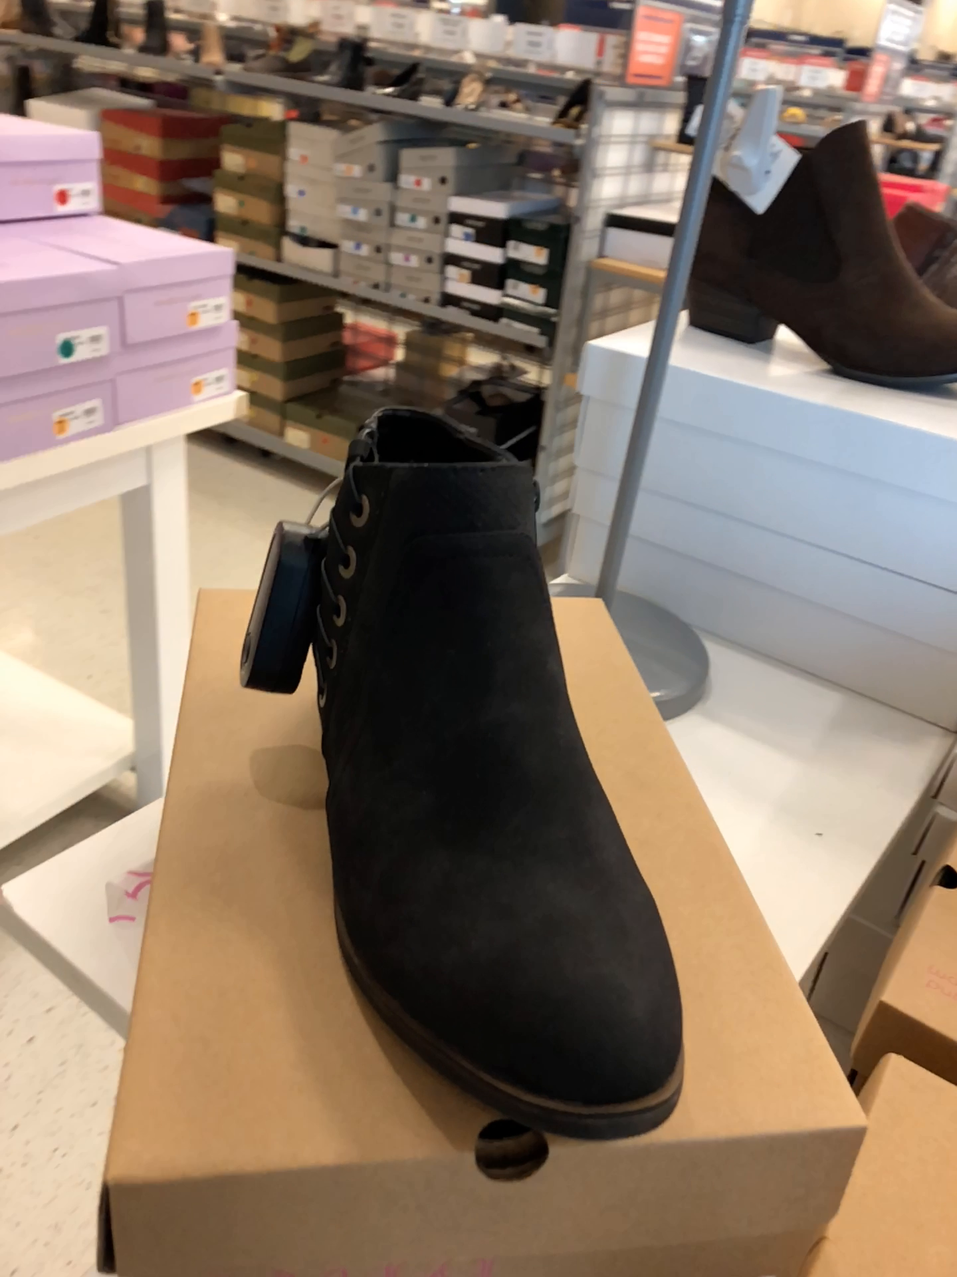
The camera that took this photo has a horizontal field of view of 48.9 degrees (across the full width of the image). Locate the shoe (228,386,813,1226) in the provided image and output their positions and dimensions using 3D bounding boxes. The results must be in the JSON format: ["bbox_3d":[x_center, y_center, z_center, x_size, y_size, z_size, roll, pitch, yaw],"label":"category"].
[{"bbox_3d":[-0.020,0.019,0.342,0.100,0.119,0.262,-2,31,-17],"label":"shoe"}]
